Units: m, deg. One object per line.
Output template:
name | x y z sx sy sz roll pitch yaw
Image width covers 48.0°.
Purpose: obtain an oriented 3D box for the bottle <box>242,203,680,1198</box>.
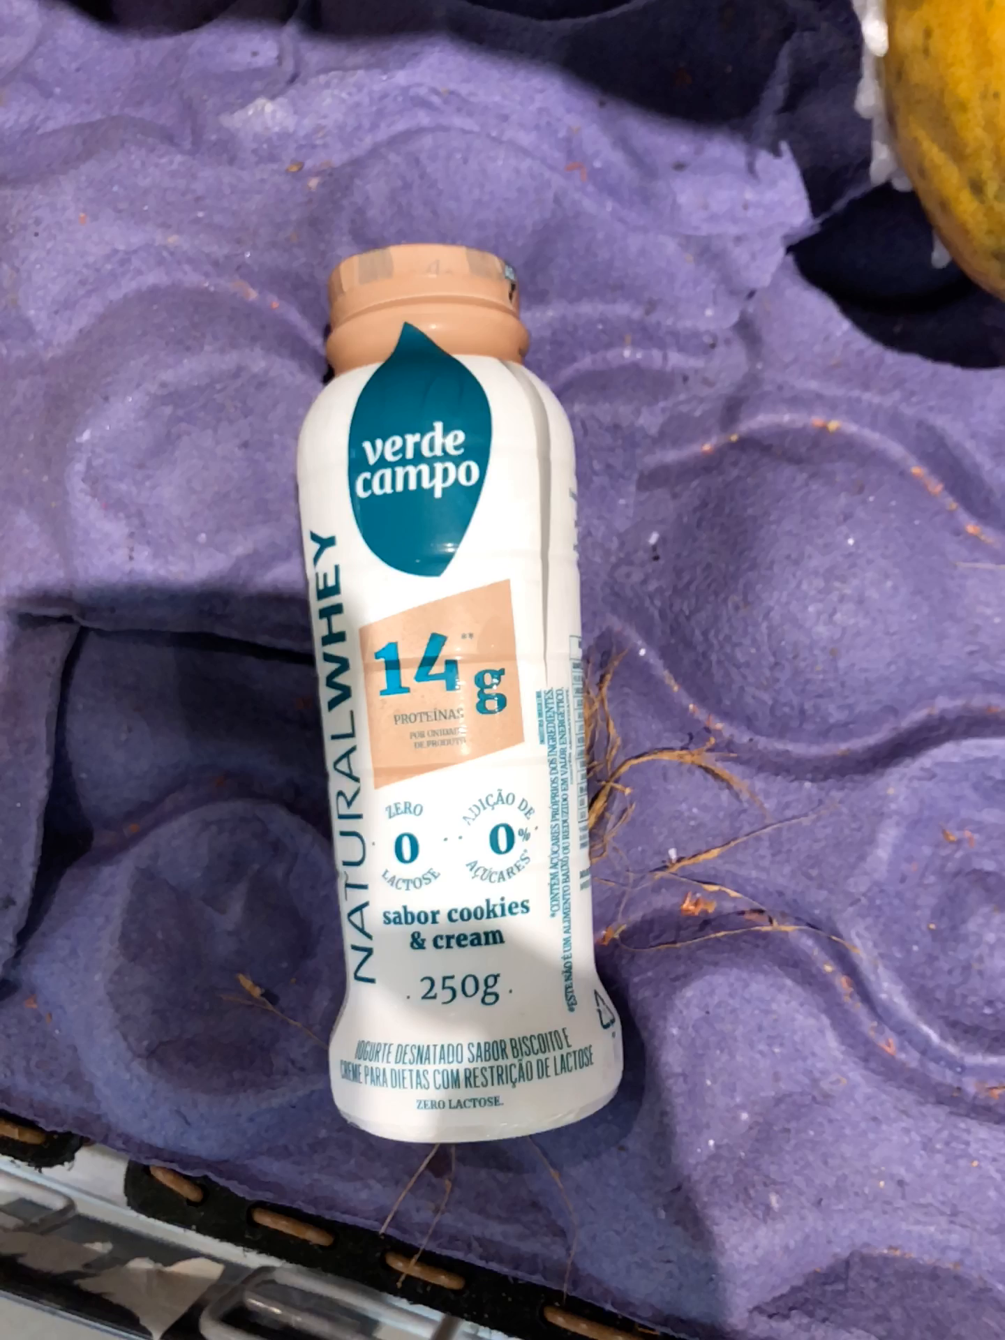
bottle | -0.008 0.004 0.206 0.060 0.040 0.160 -5 85 0
